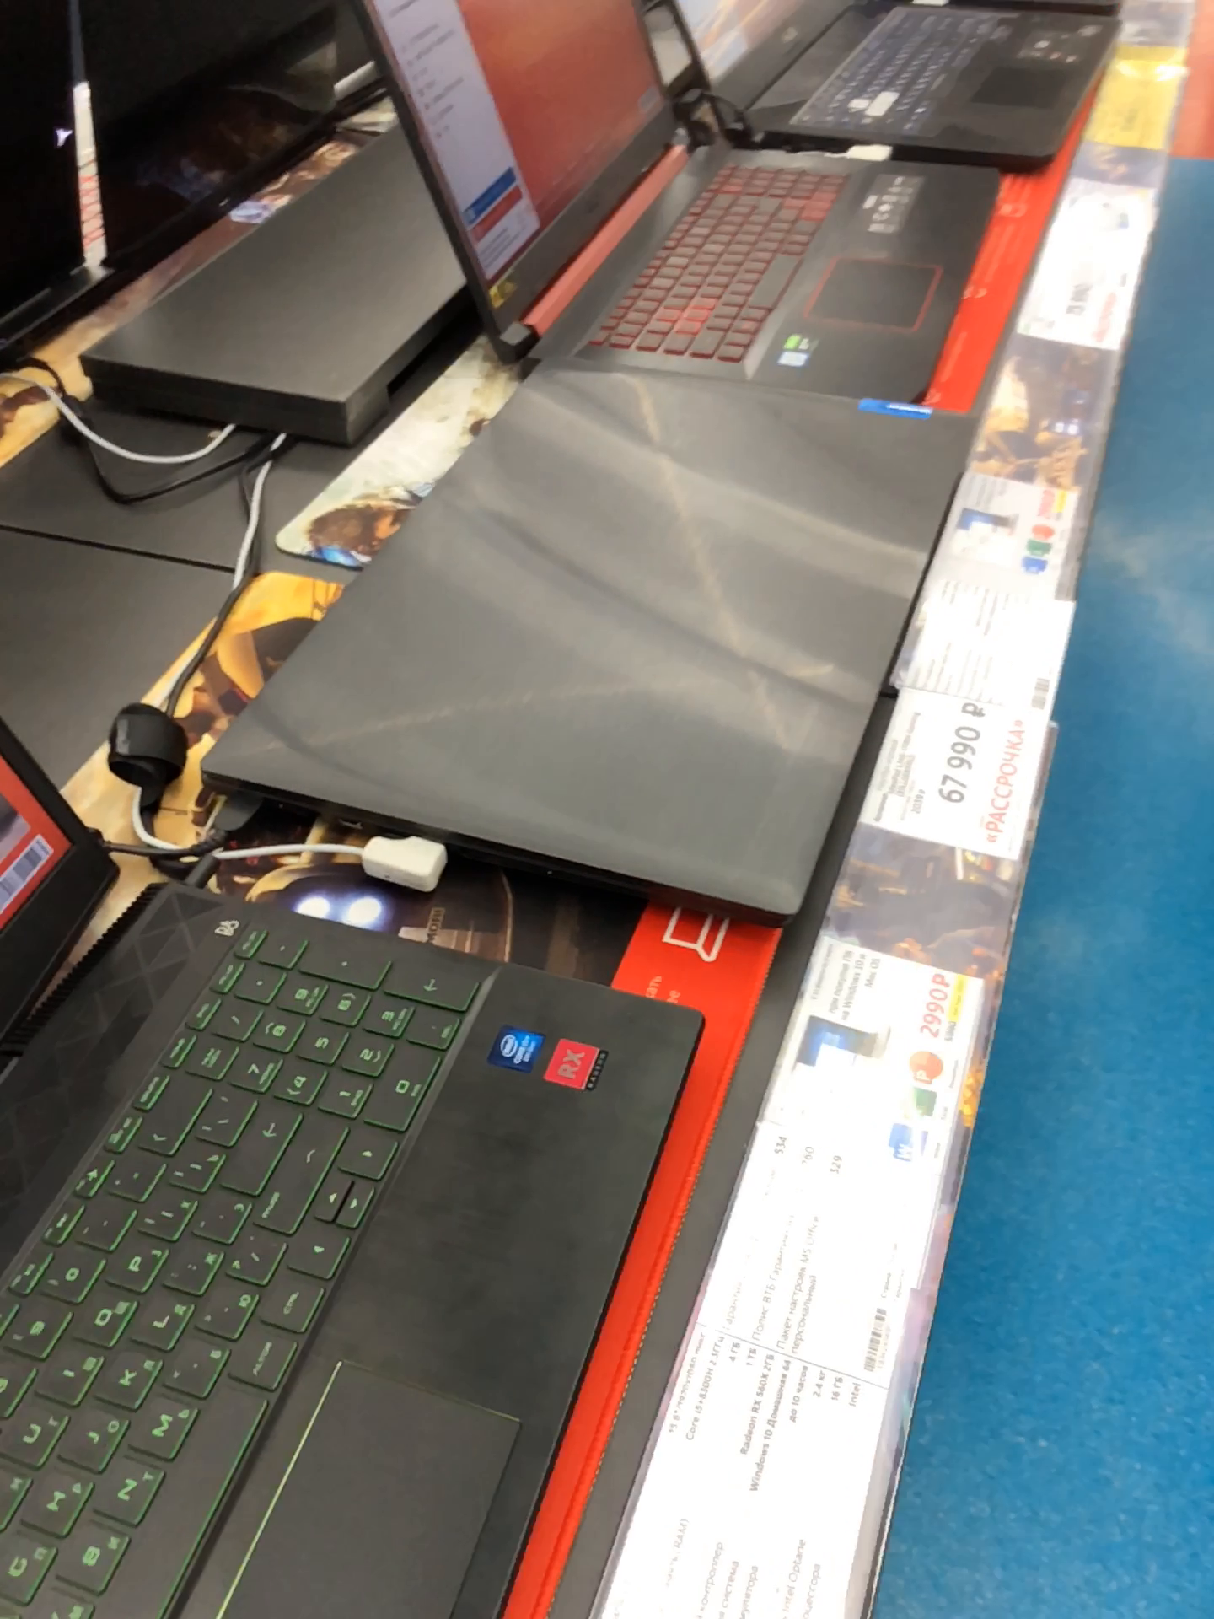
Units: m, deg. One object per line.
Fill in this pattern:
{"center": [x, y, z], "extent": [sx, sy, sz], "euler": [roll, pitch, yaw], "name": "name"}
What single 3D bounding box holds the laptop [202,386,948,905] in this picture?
{"center": [0.010, -0.118, 0.700], "extent": [0.268, 0.002, 0.390], "euler": [12, 46, 15], "name": "laptop"}
